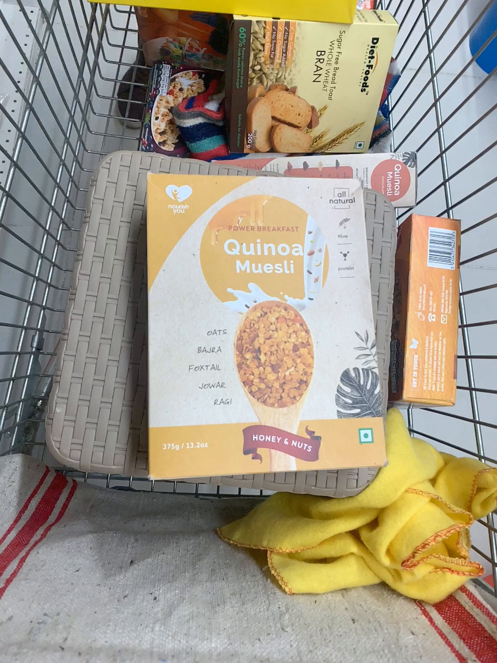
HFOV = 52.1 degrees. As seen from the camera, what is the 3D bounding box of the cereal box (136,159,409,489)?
[{"bbox_3d":[0.008,-0.005,0.351,0.160,0.080,0.200,-1,80,-7],"label":"cereal box"}]
